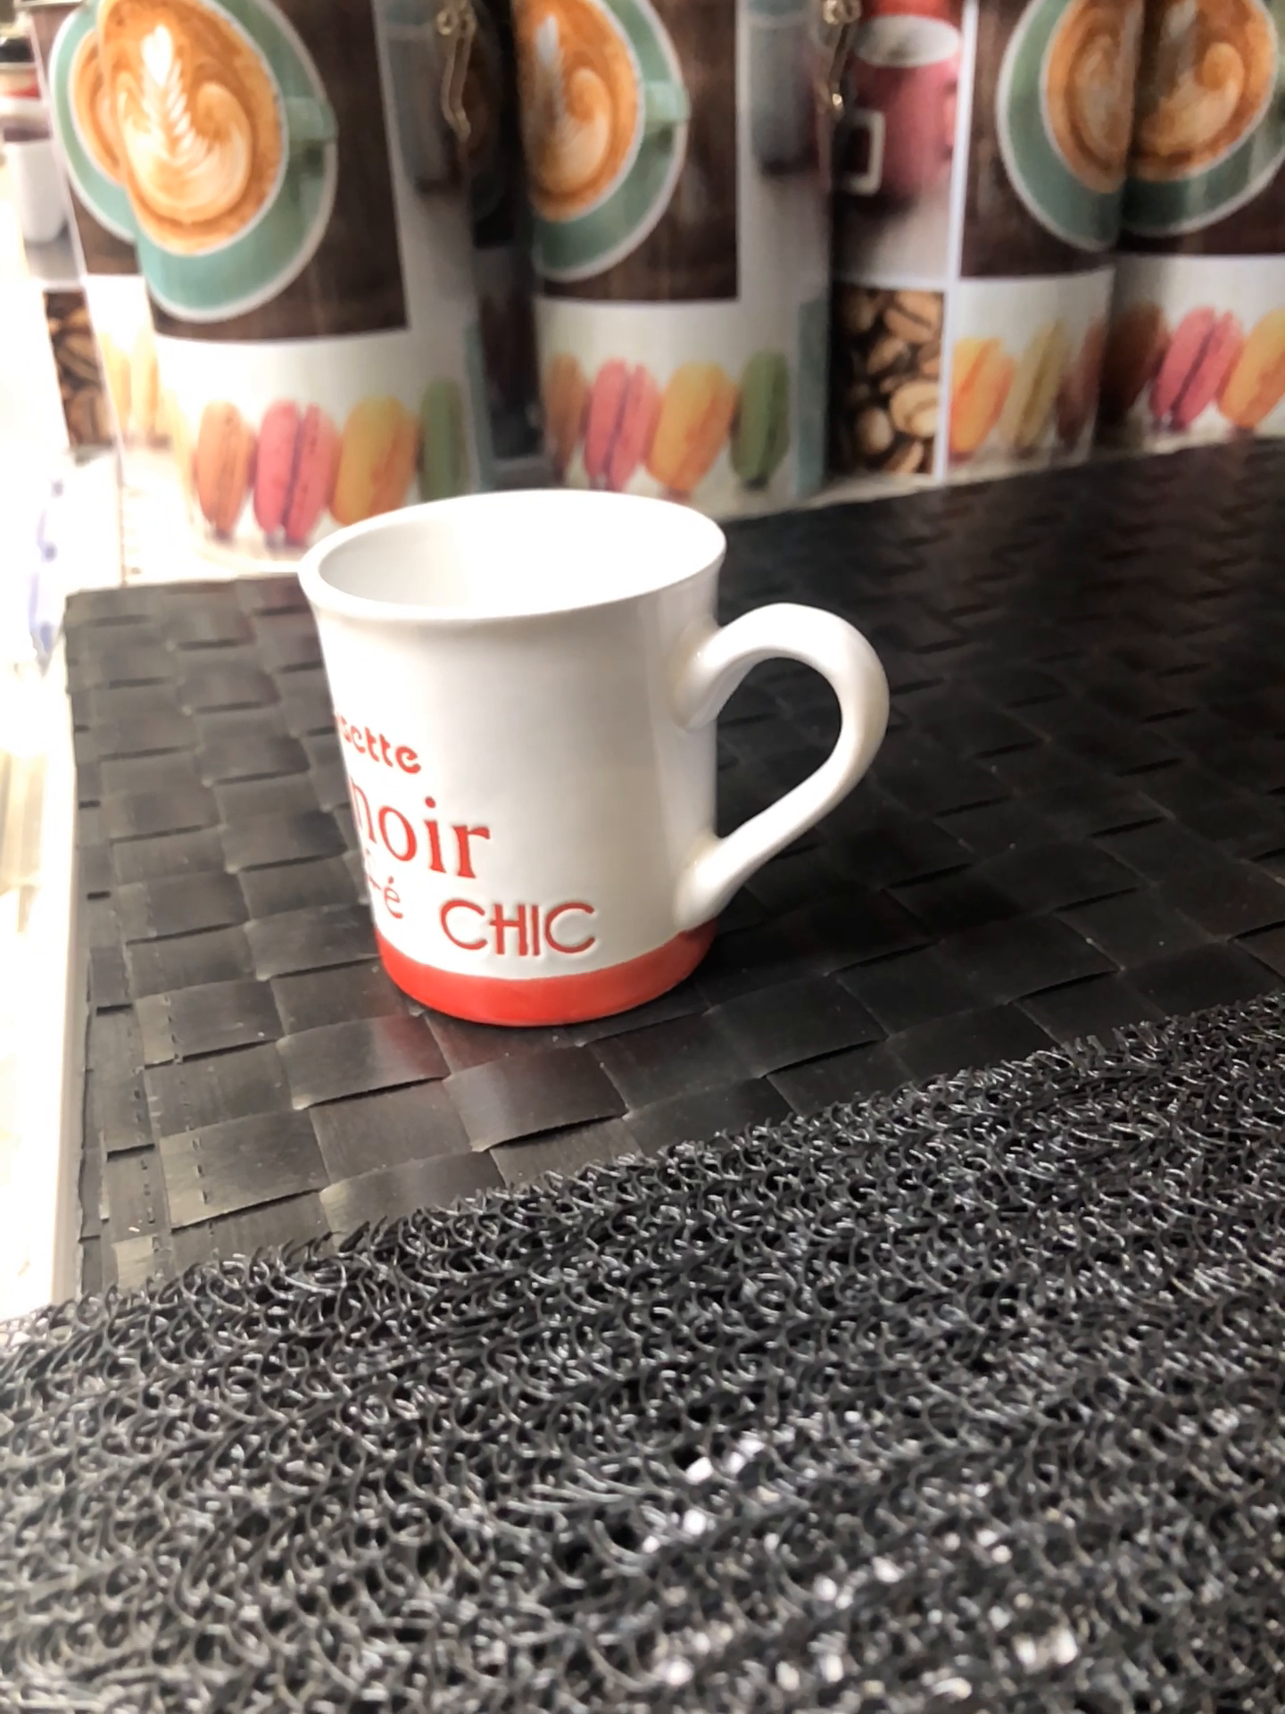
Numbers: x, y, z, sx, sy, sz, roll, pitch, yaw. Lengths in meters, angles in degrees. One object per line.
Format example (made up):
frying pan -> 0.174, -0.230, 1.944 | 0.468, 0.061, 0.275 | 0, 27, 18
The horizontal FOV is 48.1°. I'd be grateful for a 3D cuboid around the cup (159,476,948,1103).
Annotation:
cup -> -0.009, -0.017, 0.228 | 0.096, 0.064, 0.068 | 9, 31, 22
